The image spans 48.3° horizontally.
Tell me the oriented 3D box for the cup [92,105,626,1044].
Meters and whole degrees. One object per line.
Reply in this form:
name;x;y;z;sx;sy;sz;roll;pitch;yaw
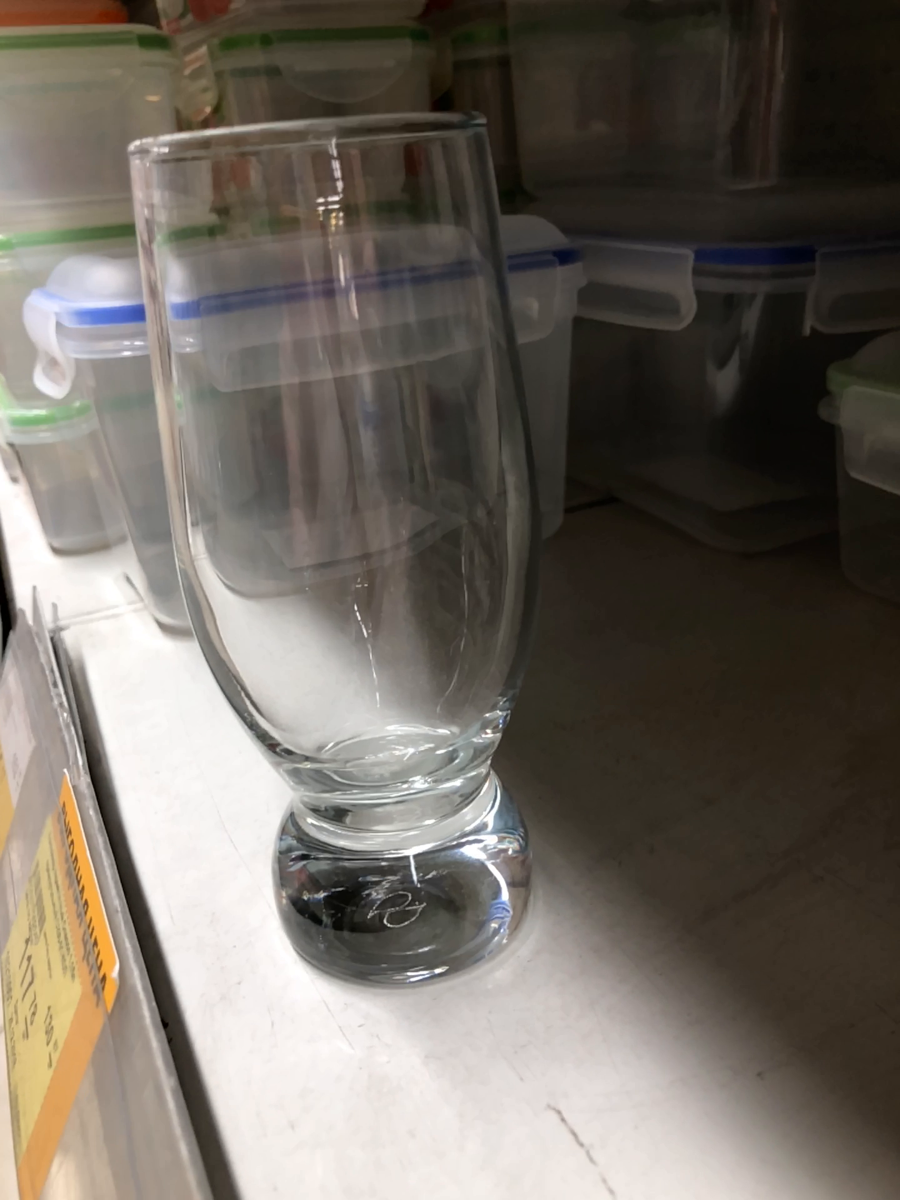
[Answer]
cup;-0.013;-0.005;0.185;0.069;0.146;0.057;-12;24;-16
